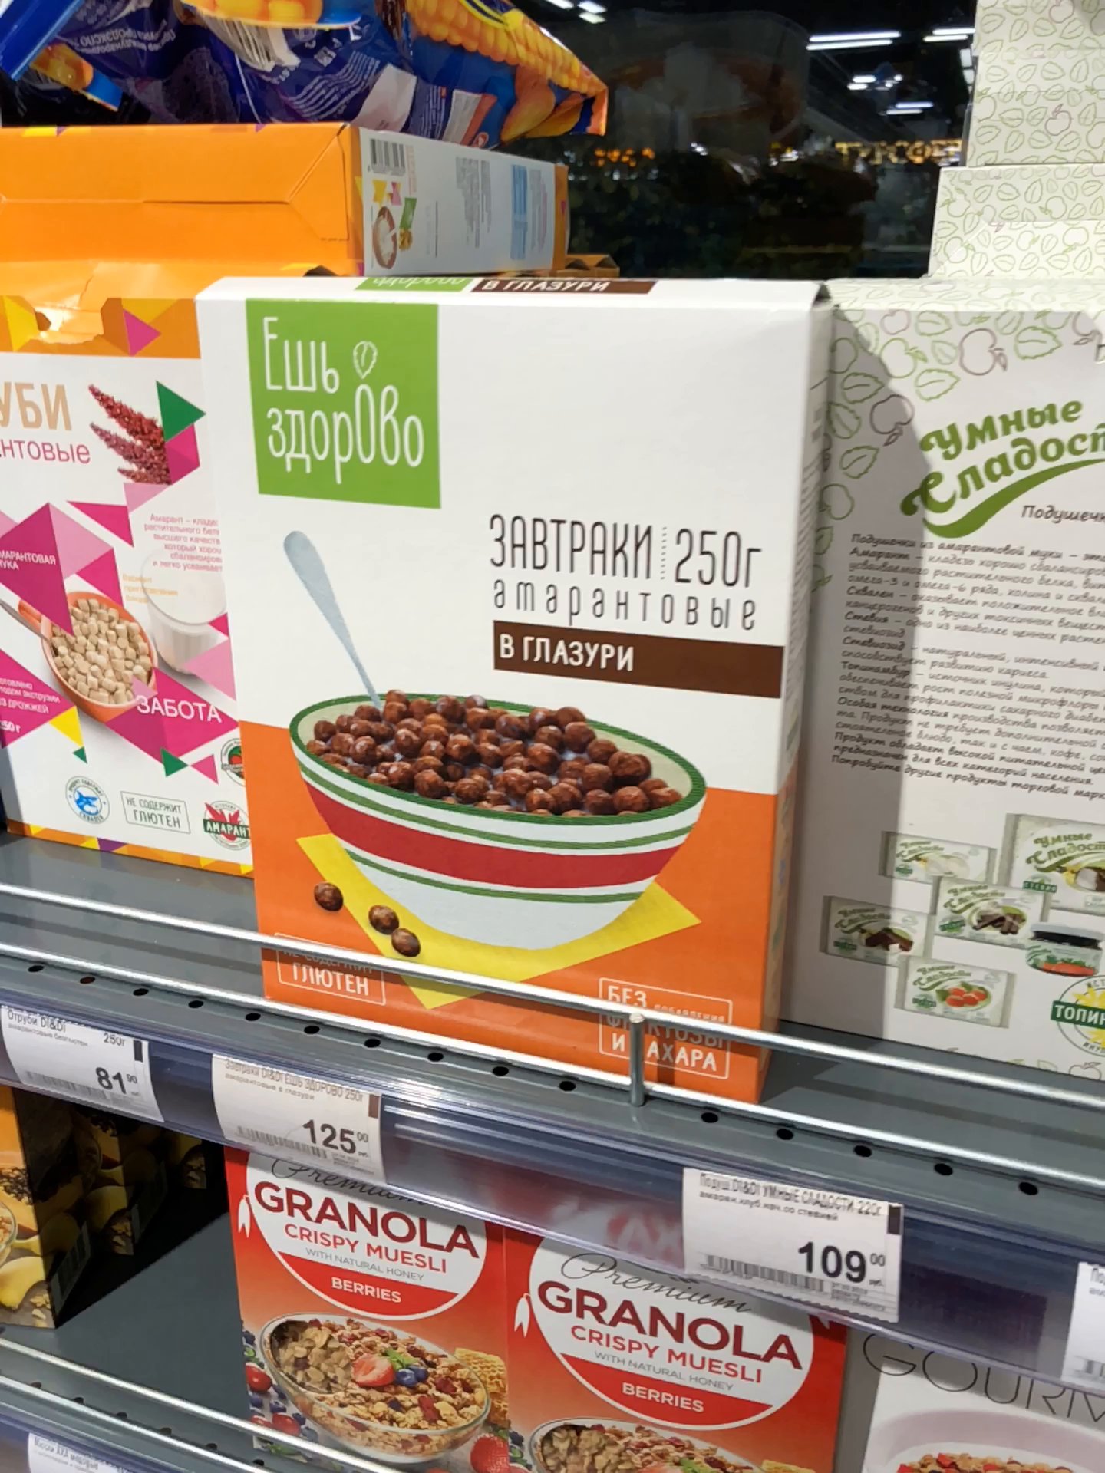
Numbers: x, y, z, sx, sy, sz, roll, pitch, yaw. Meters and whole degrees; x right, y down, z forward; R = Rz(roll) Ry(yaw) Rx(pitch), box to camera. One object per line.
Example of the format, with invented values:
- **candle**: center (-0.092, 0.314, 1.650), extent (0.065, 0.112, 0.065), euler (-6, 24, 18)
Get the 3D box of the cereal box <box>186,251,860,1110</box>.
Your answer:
- **cereal box**: center (-0.010, -0.019, 0.400), extent (0.190, 0.259, 0.050), euler (7, 22, 18)
